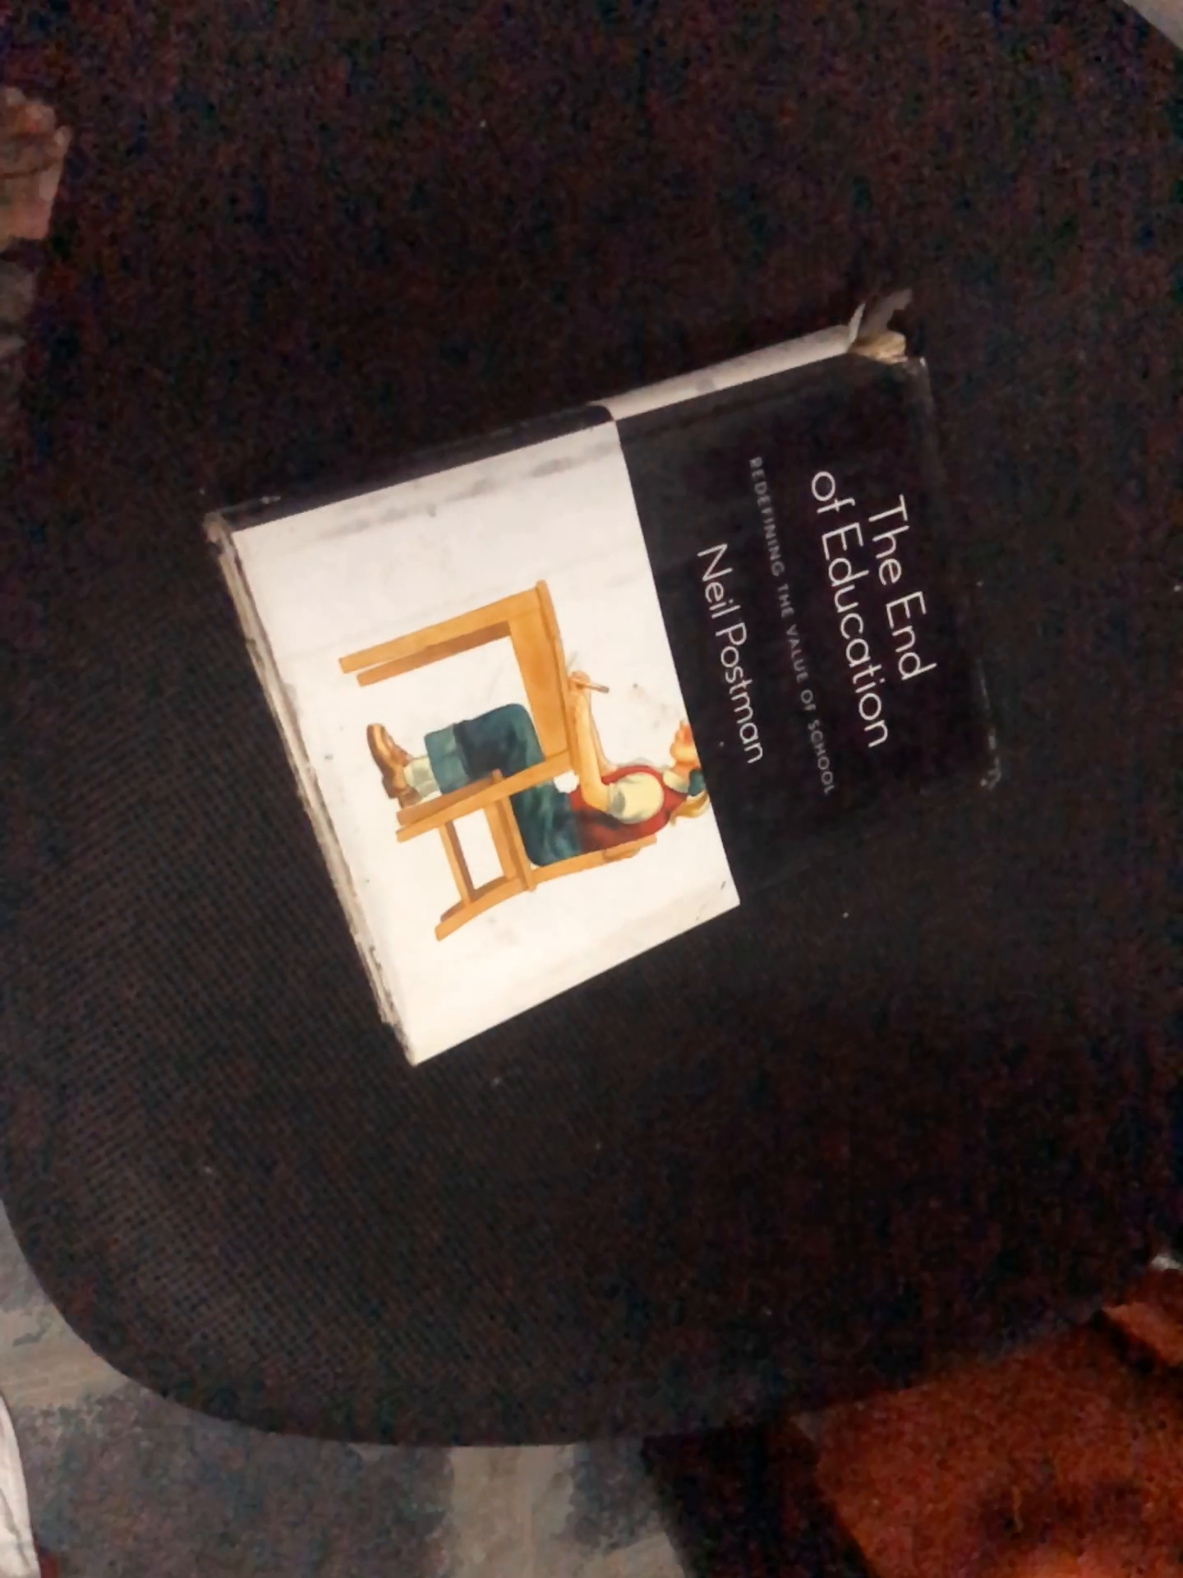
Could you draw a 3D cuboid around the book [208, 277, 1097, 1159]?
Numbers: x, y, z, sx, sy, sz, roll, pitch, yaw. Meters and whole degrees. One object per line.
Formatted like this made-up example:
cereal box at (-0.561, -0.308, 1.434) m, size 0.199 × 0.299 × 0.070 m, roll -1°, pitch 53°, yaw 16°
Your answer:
book at (0.040, -0.031, 0.389) m, size 0.251 × 0.030 × 0.180 m, roll -23°, pitch 109°, yaw -24°
